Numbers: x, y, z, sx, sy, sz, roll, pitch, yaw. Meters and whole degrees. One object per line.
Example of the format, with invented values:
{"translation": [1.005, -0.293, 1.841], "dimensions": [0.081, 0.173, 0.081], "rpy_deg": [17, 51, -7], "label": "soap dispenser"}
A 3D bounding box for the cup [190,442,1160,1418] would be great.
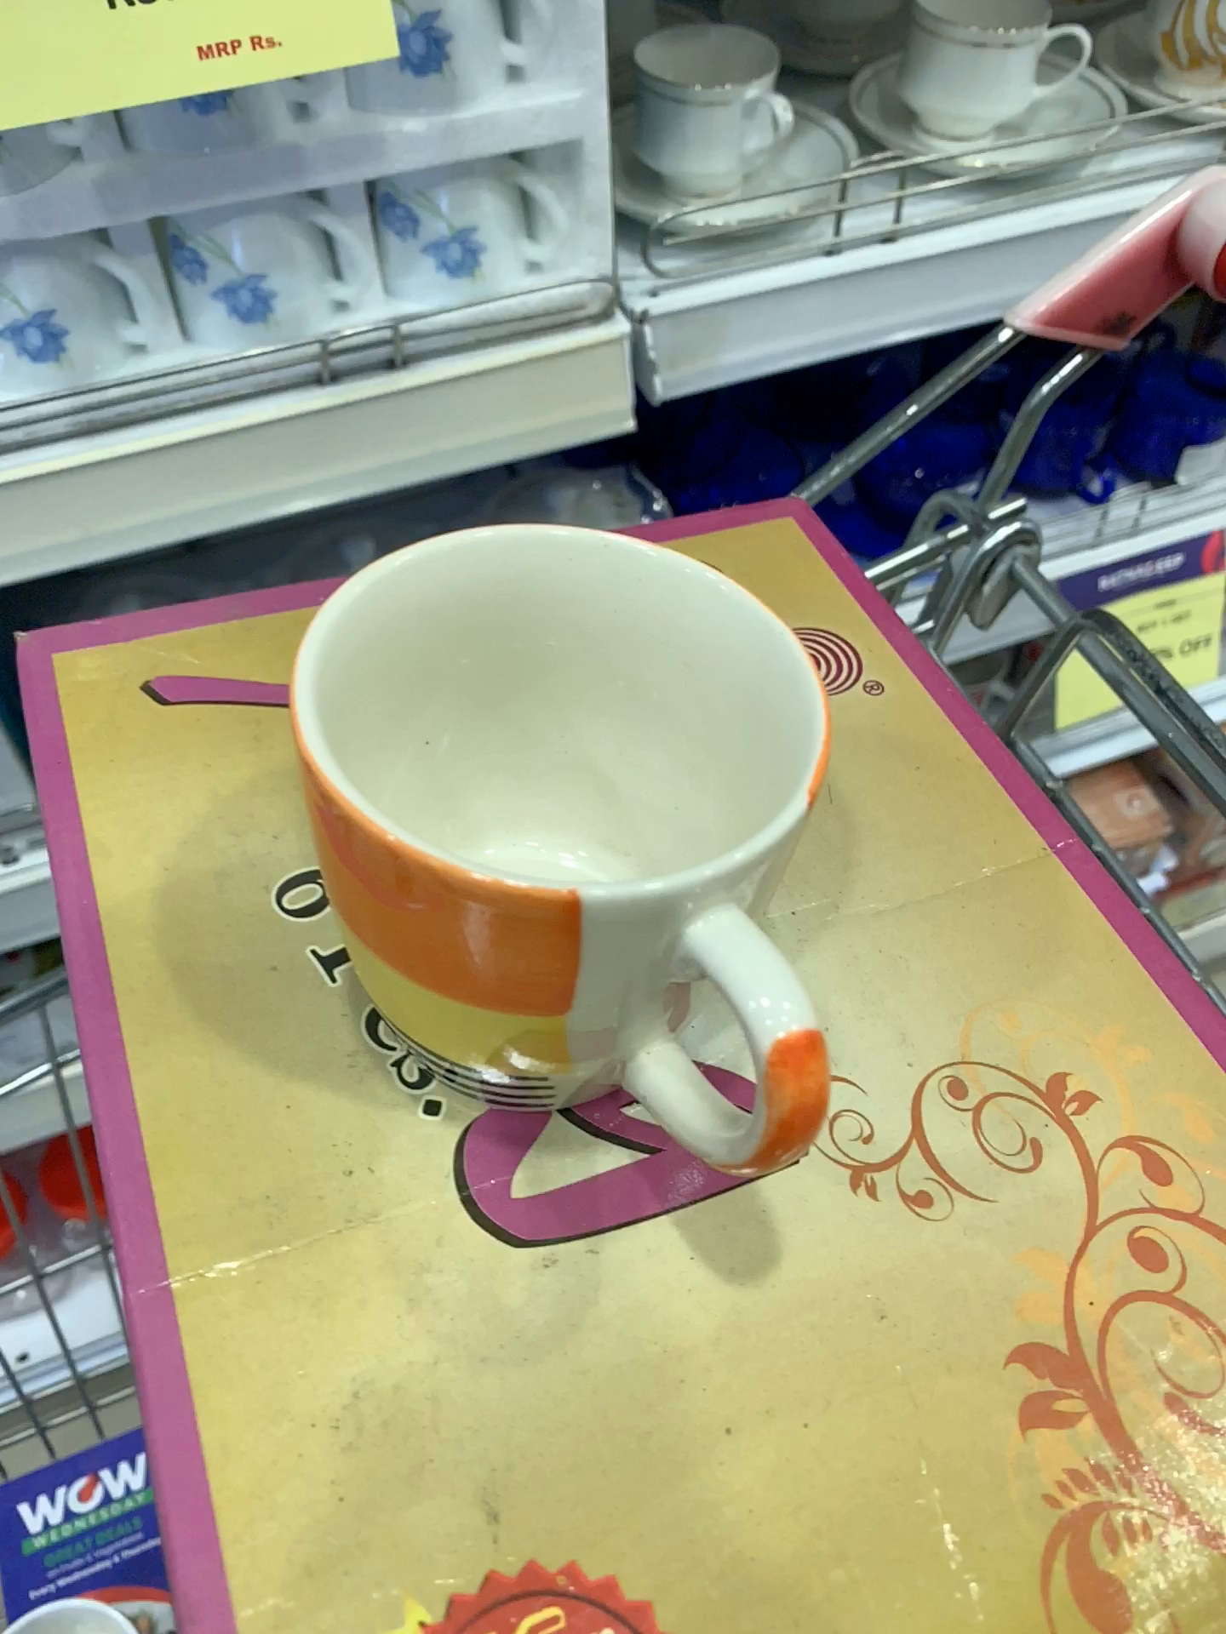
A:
{"translation": [0.001, 0.010, 0.177], "dimensions": [0.080, 0.070, 0.090], "rpy_deg": [-21, 53, -25], "label": "cup"}
